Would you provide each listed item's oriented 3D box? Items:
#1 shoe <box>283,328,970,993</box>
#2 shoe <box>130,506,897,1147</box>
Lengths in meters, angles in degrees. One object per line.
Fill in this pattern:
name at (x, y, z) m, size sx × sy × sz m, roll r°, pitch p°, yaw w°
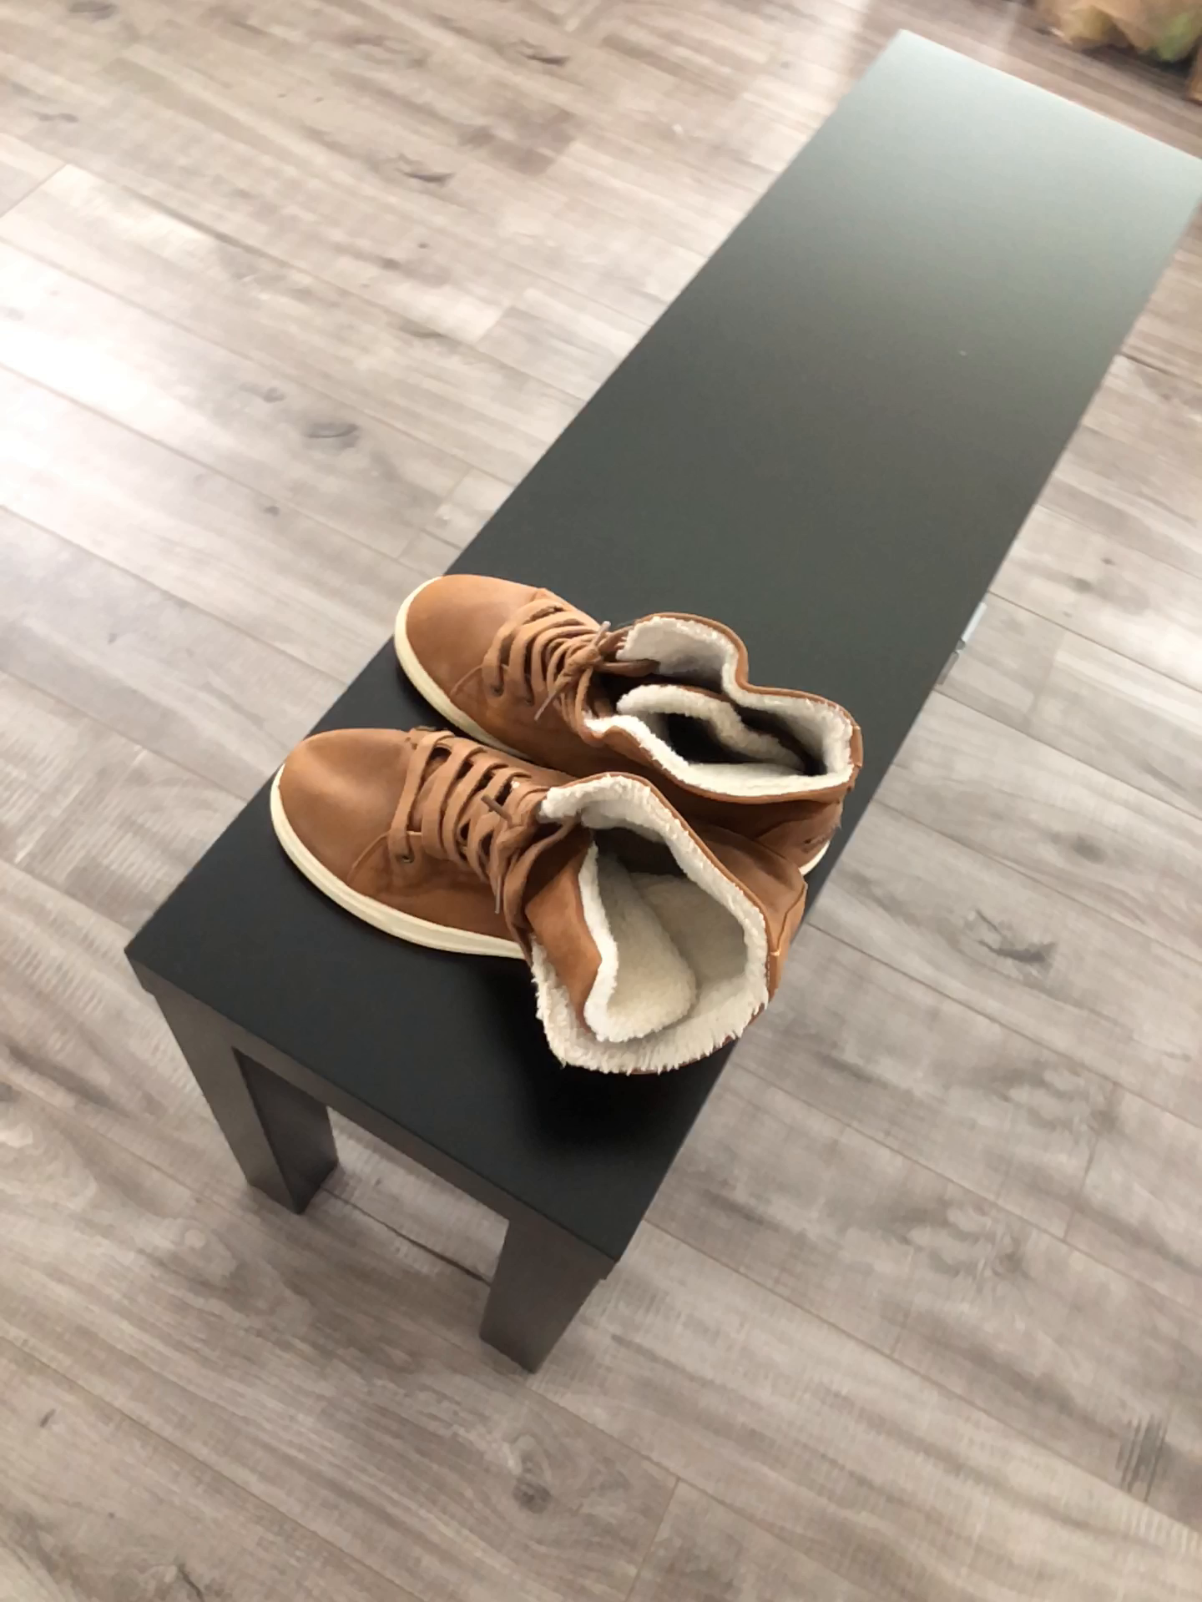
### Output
shoe at (0.001, -0.059, 0.588) m, size 0.260 × 0.150 × 0.110 m, roll 36°, pitch 63°, yaw 12°
shoe at (-0.037, 0.015, 0.544) m, size 0.260 × 0.140 × 0.110 m, roll 26°, pitch 61°, yaw 7°
